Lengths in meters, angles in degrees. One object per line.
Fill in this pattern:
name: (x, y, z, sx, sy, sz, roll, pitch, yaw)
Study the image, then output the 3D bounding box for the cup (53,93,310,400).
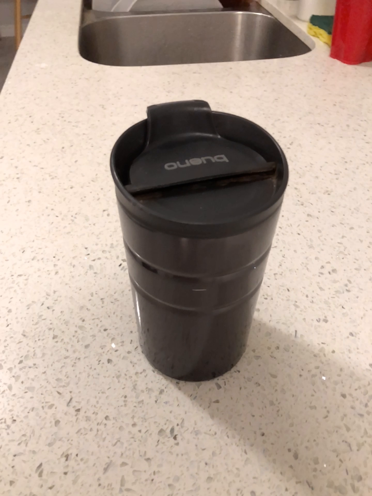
cup: (0.005, -0.001, 0.211, 0.086, 0.116, 0.085, 0, 43, 0)
